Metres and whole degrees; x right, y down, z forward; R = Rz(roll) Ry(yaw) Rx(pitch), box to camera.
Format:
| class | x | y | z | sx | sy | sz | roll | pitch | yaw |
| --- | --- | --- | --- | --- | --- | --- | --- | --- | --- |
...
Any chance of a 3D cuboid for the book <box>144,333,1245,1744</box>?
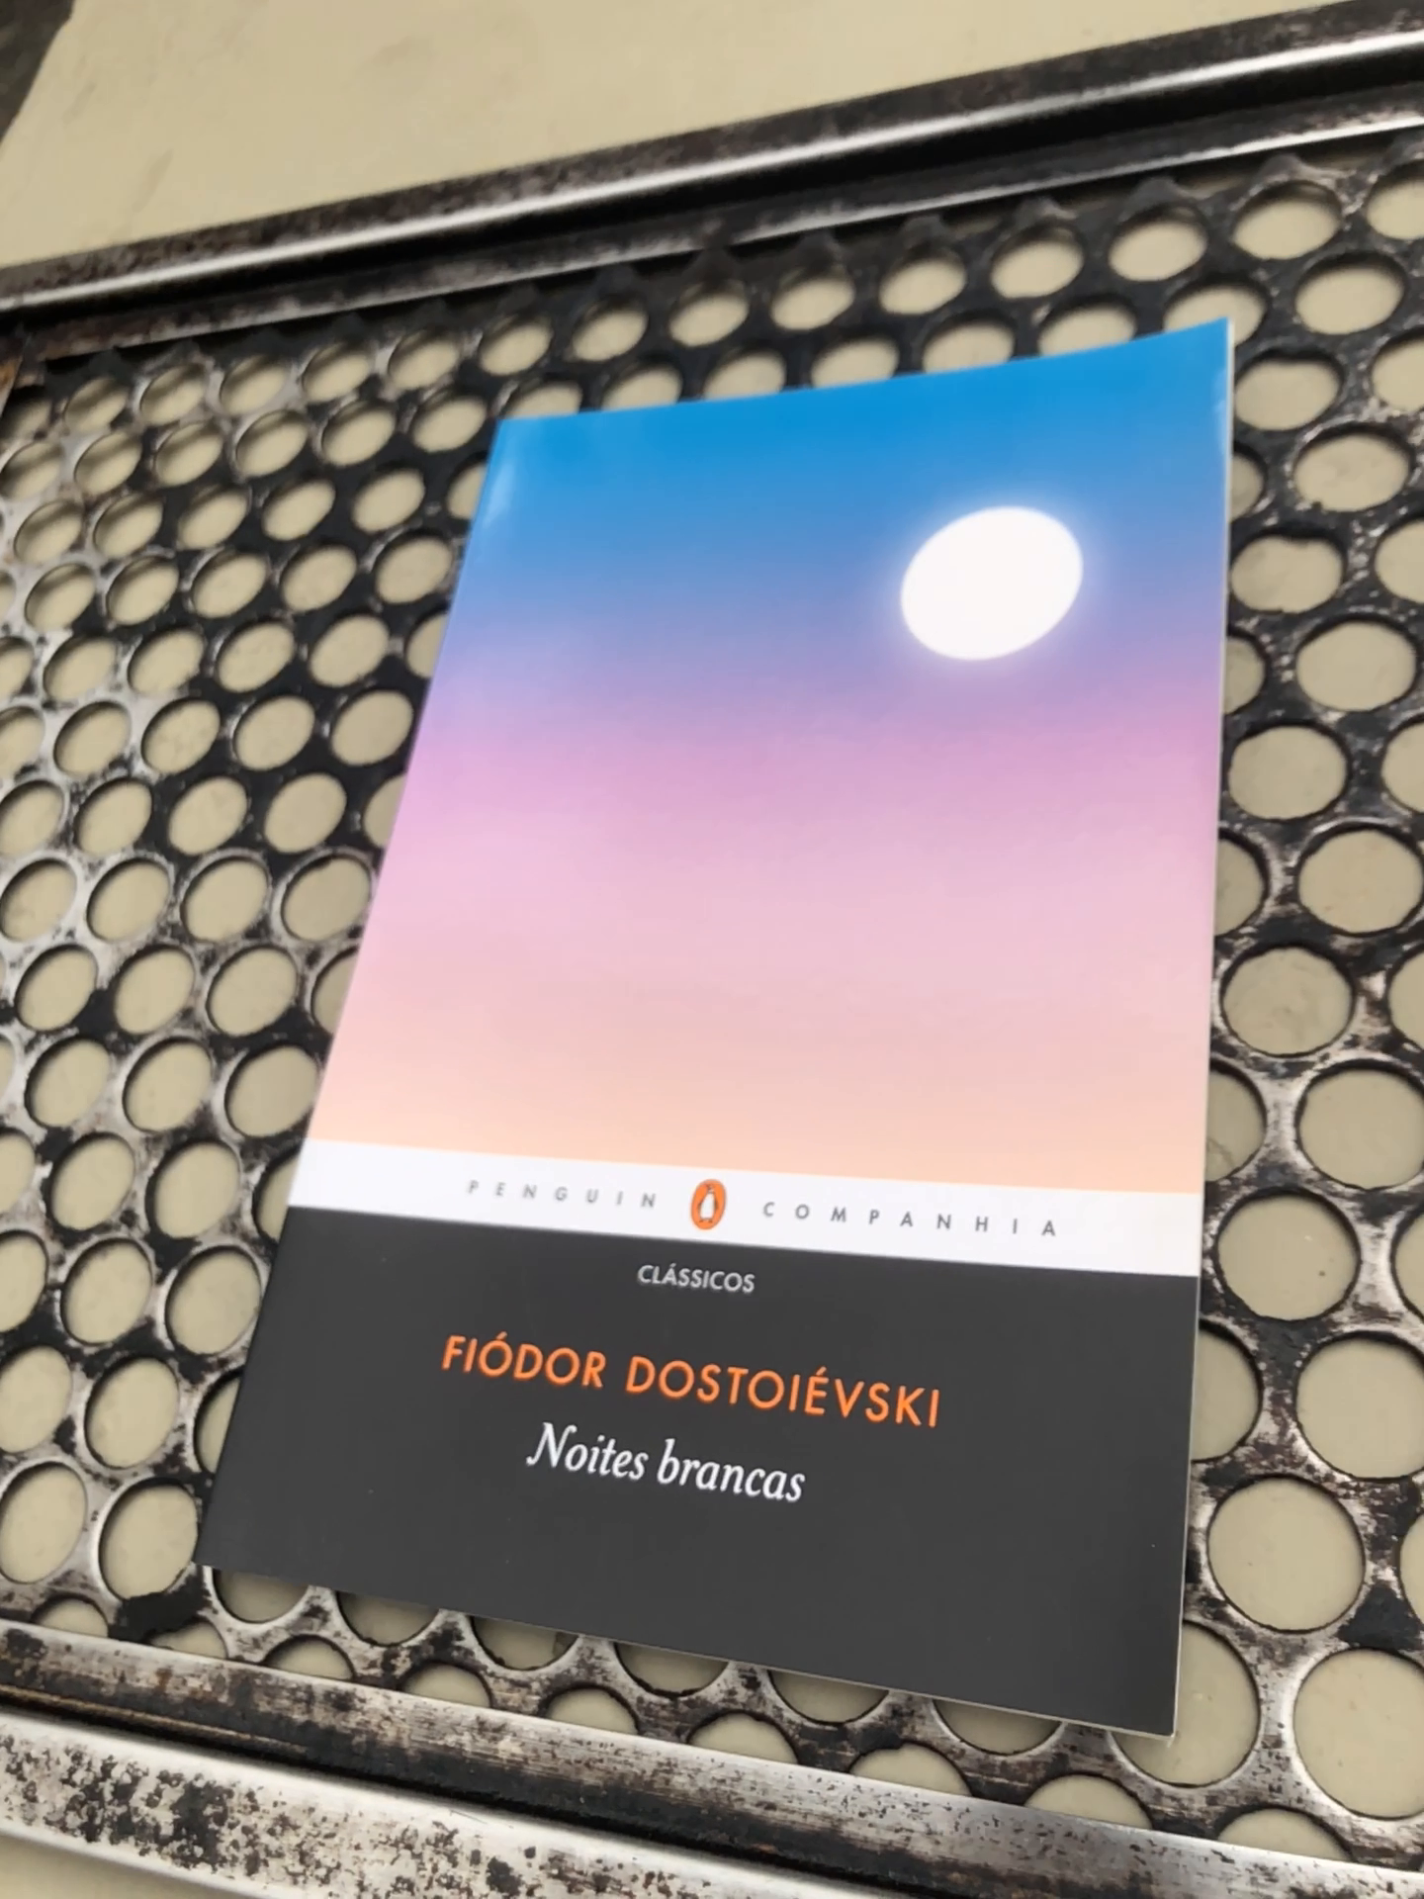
| class | x | y | z | sx | sy | sz | roll | pitch | yaw |
| --- | --- | --- | --- | --- | --- | --- | --- | --- | --- |
| book | 0.004 | -0.004 | 0.230 | 0.133 | 0.010 | 0.191 | 1 | 65 | 21 |
